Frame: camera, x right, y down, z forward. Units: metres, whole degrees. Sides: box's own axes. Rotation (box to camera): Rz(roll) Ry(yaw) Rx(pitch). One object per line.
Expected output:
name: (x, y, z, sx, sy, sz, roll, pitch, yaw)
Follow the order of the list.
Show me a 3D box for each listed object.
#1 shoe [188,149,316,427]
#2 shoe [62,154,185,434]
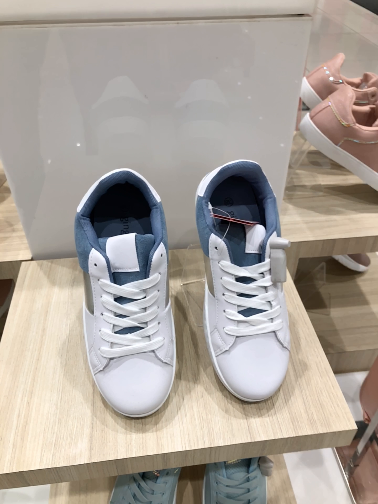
shoe: (0.061, 0.033, 0.448, 0.100, 0.260, 0.090, -4, -1, -5)
shoe: (-0.066, 0.039, 0.444, 0.100, 0.260, 0.090, -4, -1, -5)
